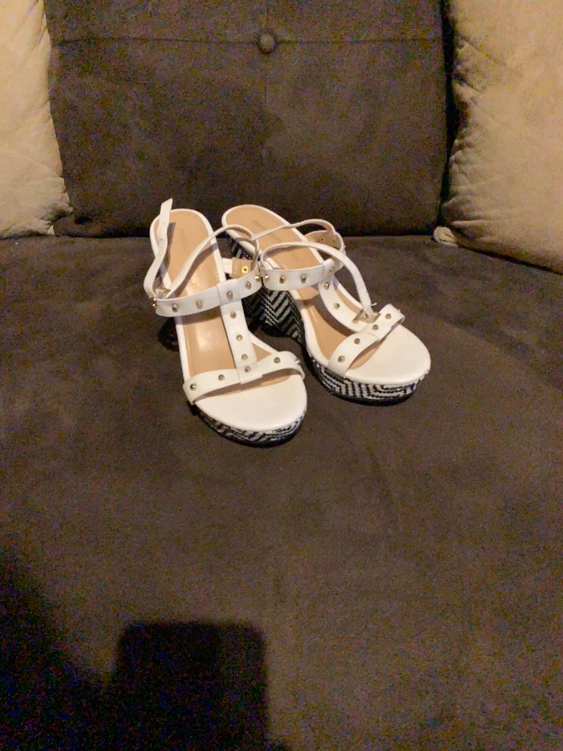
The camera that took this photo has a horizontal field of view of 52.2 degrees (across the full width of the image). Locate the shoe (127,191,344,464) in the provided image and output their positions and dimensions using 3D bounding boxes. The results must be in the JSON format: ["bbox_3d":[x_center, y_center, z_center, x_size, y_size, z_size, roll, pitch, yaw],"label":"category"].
[{"bbox_3d":[-0.056,-0.062,0.521,0.110,0.099,0.261,-11,43,-19],"label":"shoe"}]

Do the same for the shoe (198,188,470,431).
[{"bbox_3d":[0.033,-0.077,0.543,0.100,0.099,0.251,-24,47,-31],"label":"shoe"}]
